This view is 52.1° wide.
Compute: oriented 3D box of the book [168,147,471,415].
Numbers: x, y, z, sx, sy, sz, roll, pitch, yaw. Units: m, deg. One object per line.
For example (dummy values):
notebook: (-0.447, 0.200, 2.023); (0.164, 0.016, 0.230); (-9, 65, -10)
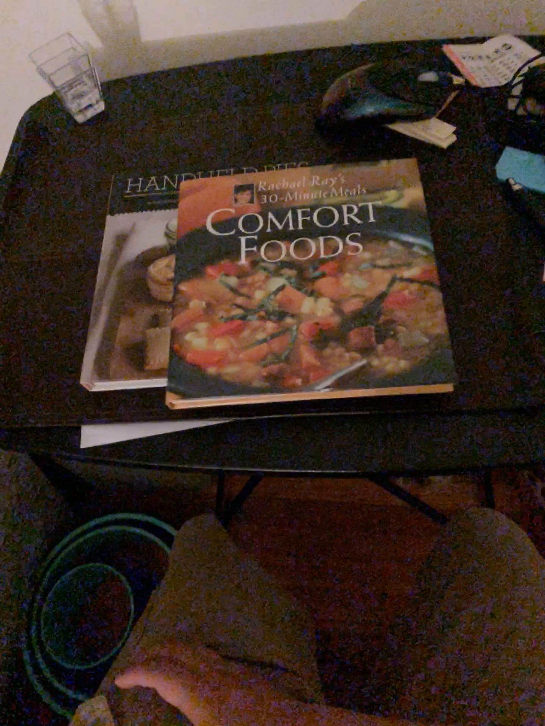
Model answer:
book: (0.026, -0.069, 0.426); (0.200, 0.020, 0.210); (-5, 63, 6)

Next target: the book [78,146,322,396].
book: (-0.056, -0.084, 0.464); (0.180, 0.020, 0.220); (-5, 63, 6)
